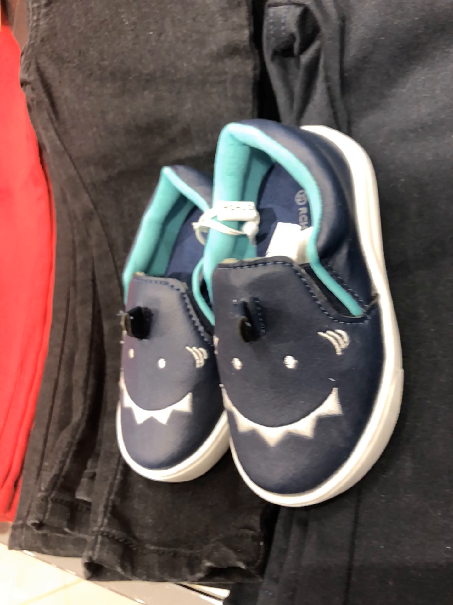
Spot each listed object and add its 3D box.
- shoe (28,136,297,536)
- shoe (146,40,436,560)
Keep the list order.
[{"bbox_3d":[-0.026,0.011,0.231,0.080,0.050,0.150,5,80,33],"label":"shoe"},{"bbox_3d":[0.023,-0.001,0.184,0.080,0.050,0.150,-7,74,31],"label":"shoe"}]
